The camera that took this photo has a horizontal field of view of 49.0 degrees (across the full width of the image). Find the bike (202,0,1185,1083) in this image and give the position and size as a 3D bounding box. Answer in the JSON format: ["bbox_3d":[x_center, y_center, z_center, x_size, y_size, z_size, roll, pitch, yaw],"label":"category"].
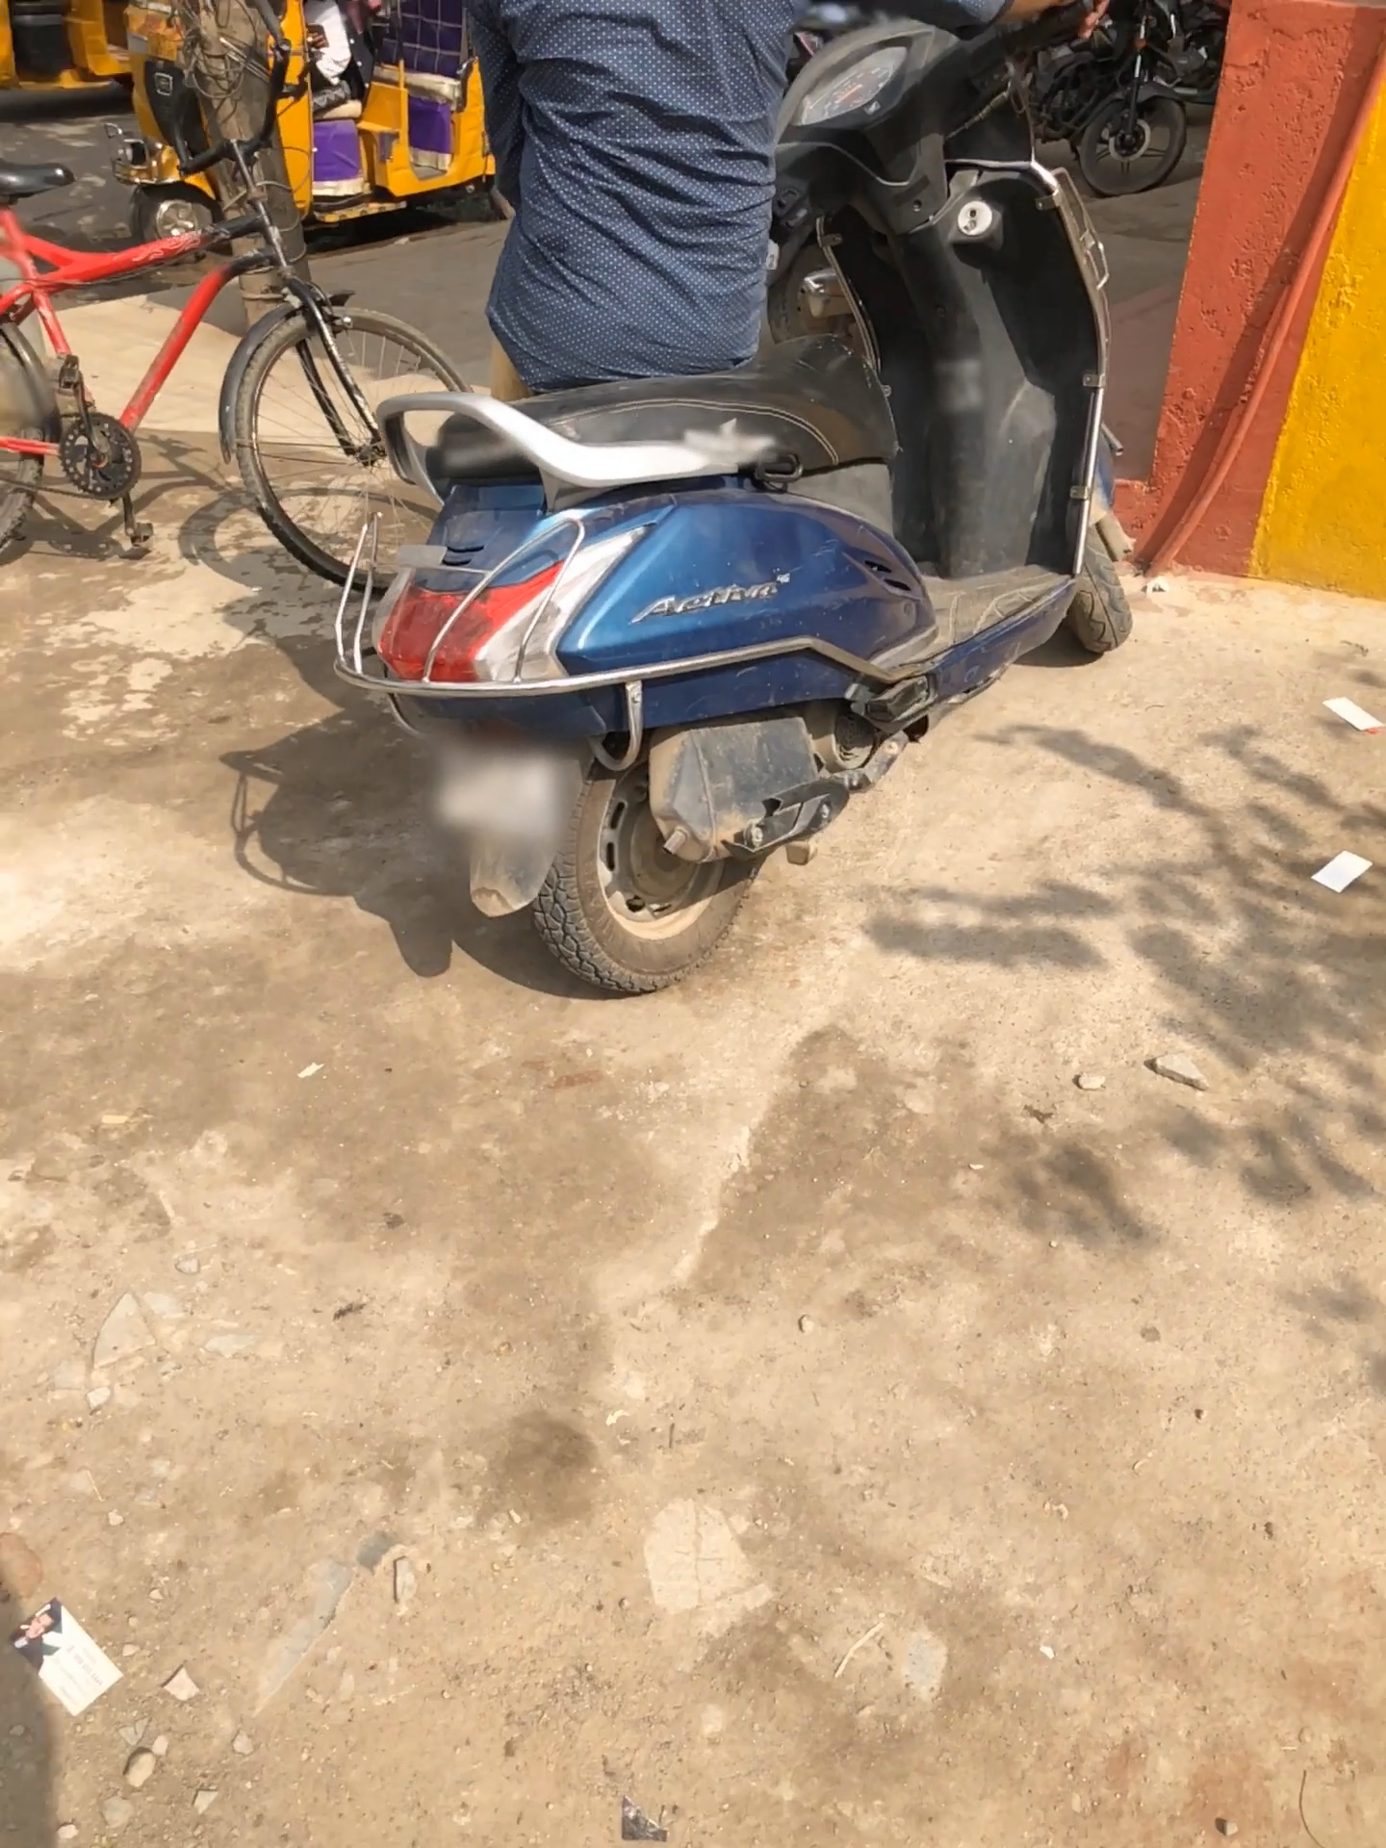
[{"bbox_3d":[0.124,-0.777,2.455,0.624,1.187,1.643,21,40,24],"label":"bike"}]
